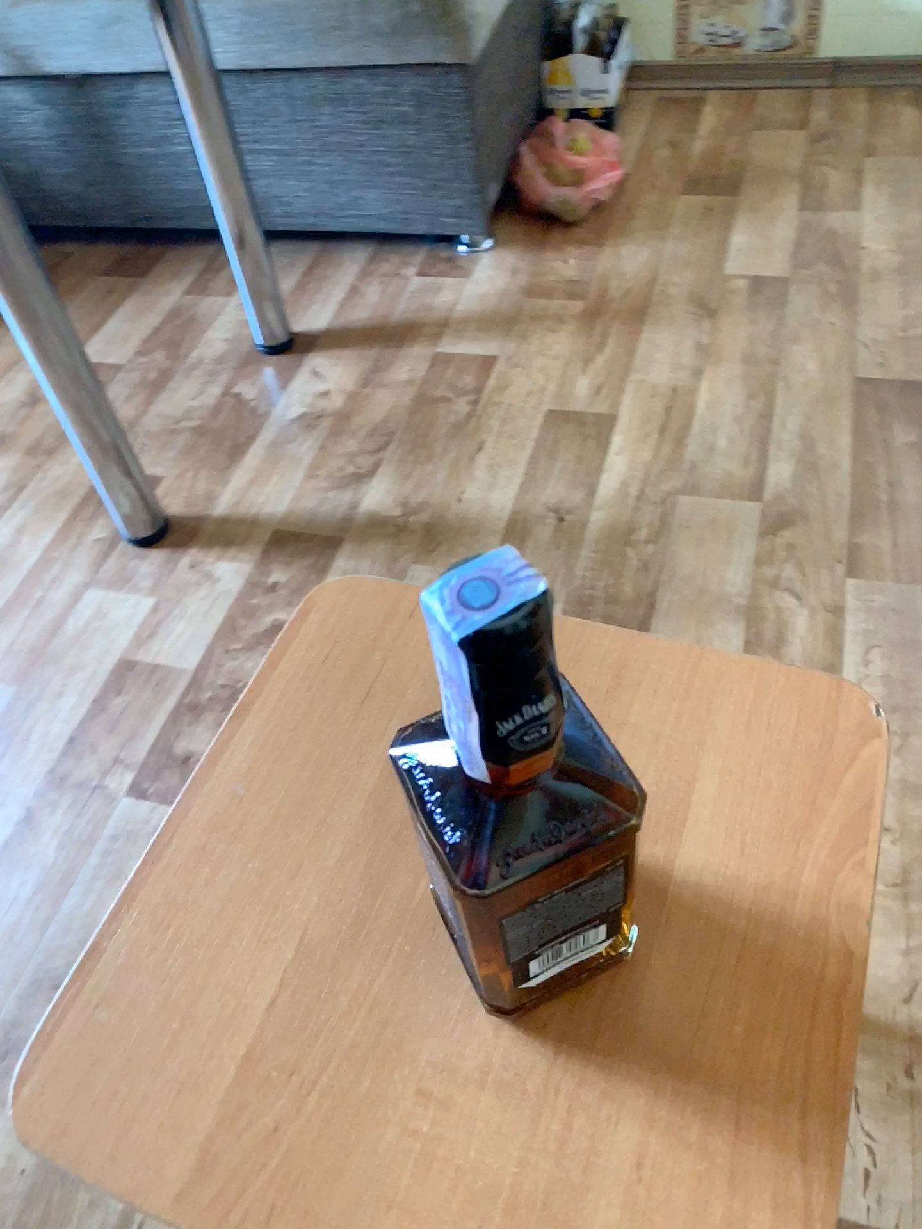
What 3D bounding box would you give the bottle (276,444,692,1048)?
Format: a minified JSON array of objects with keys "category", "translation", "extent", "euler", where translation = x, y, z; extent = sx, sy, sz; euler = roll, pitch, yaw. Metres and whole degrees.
[{"category":"bottle","translation":[0.015,0.060,0.320],"extent":[0.080,0.209,0.080],"euler":[-5,50,6]}]
